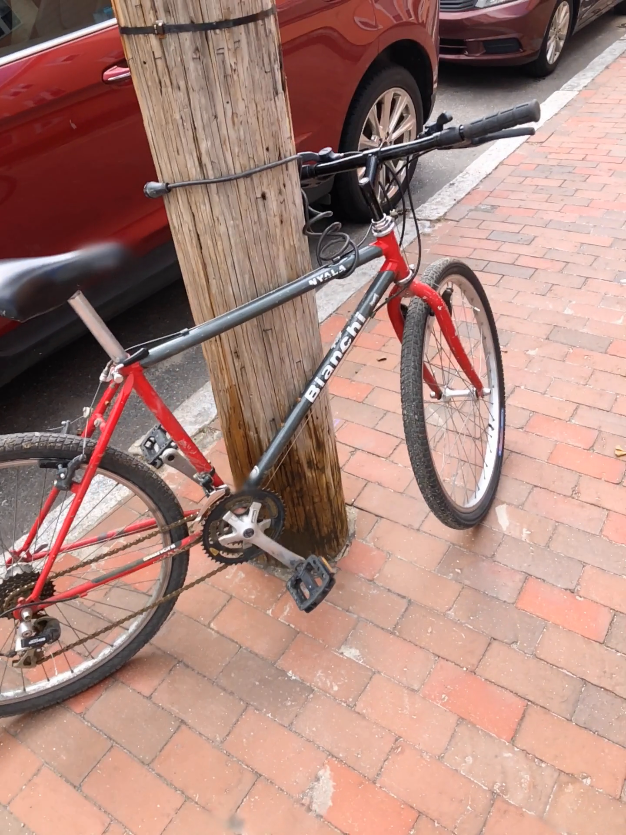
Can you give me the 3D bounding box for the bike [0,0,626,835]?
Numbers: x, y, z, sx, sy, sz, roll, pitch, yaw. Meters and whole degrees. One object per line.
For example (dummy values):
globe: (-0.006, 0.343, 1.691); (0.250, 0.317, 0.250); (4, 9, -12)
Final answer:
bike: (-0.193, -0.104, 1.346); (1.530, 0.983, 0.582); (-28, 42, -24)
